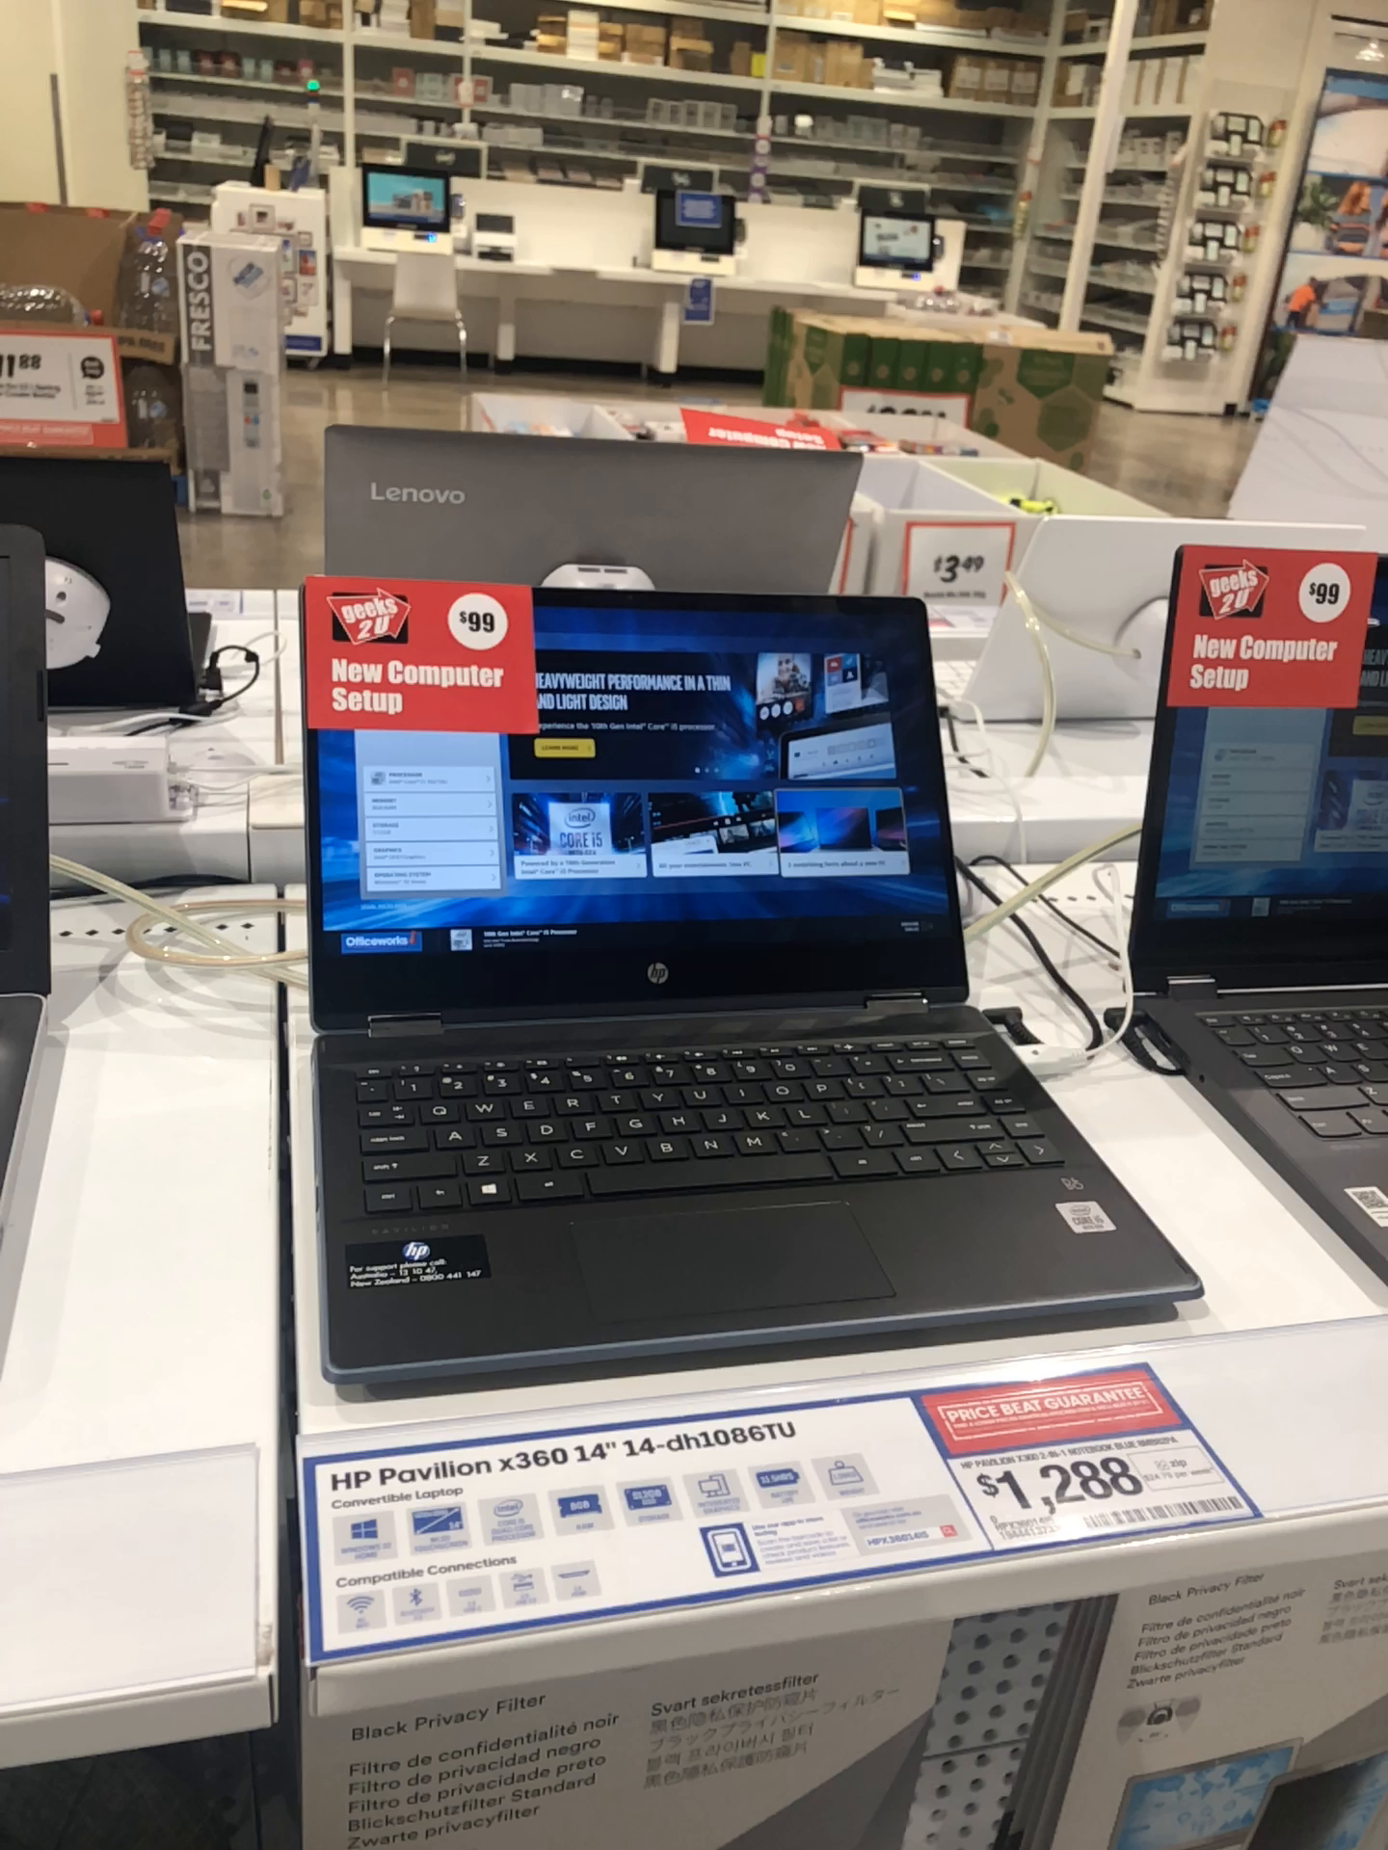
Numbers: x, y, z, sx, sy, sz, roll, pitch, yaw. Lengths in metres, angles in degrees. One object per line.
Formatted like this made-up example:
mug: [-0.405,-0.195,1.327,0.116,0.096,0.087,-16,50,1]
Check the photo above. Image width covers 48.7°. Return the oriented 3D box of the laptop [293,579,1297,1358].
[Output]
laptop: [-0.003,-0.016,0.648,0.315,0.165,0.350,-1,26,-15]
